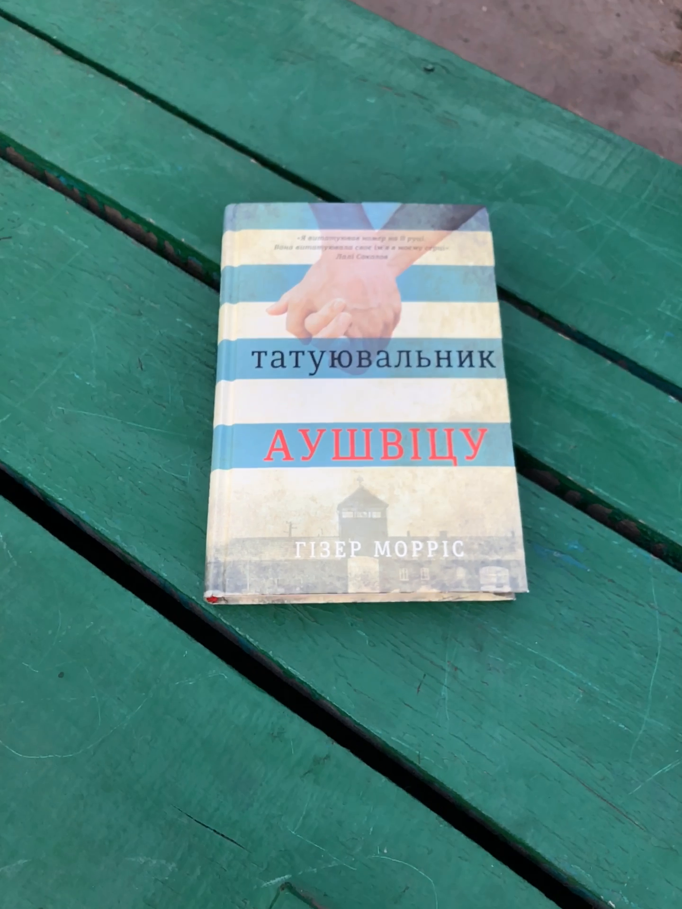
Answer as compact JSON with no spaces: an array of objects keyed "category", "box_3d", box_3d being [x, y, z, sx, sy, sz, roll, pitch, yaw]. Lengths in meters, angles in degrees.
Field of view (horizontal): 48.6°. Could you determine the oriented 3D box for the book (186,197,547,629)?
[{"category":"book","box_3d":[0.009,-0.029,0.368,0.151,0.025,0.219,-1,68,-1]}]
